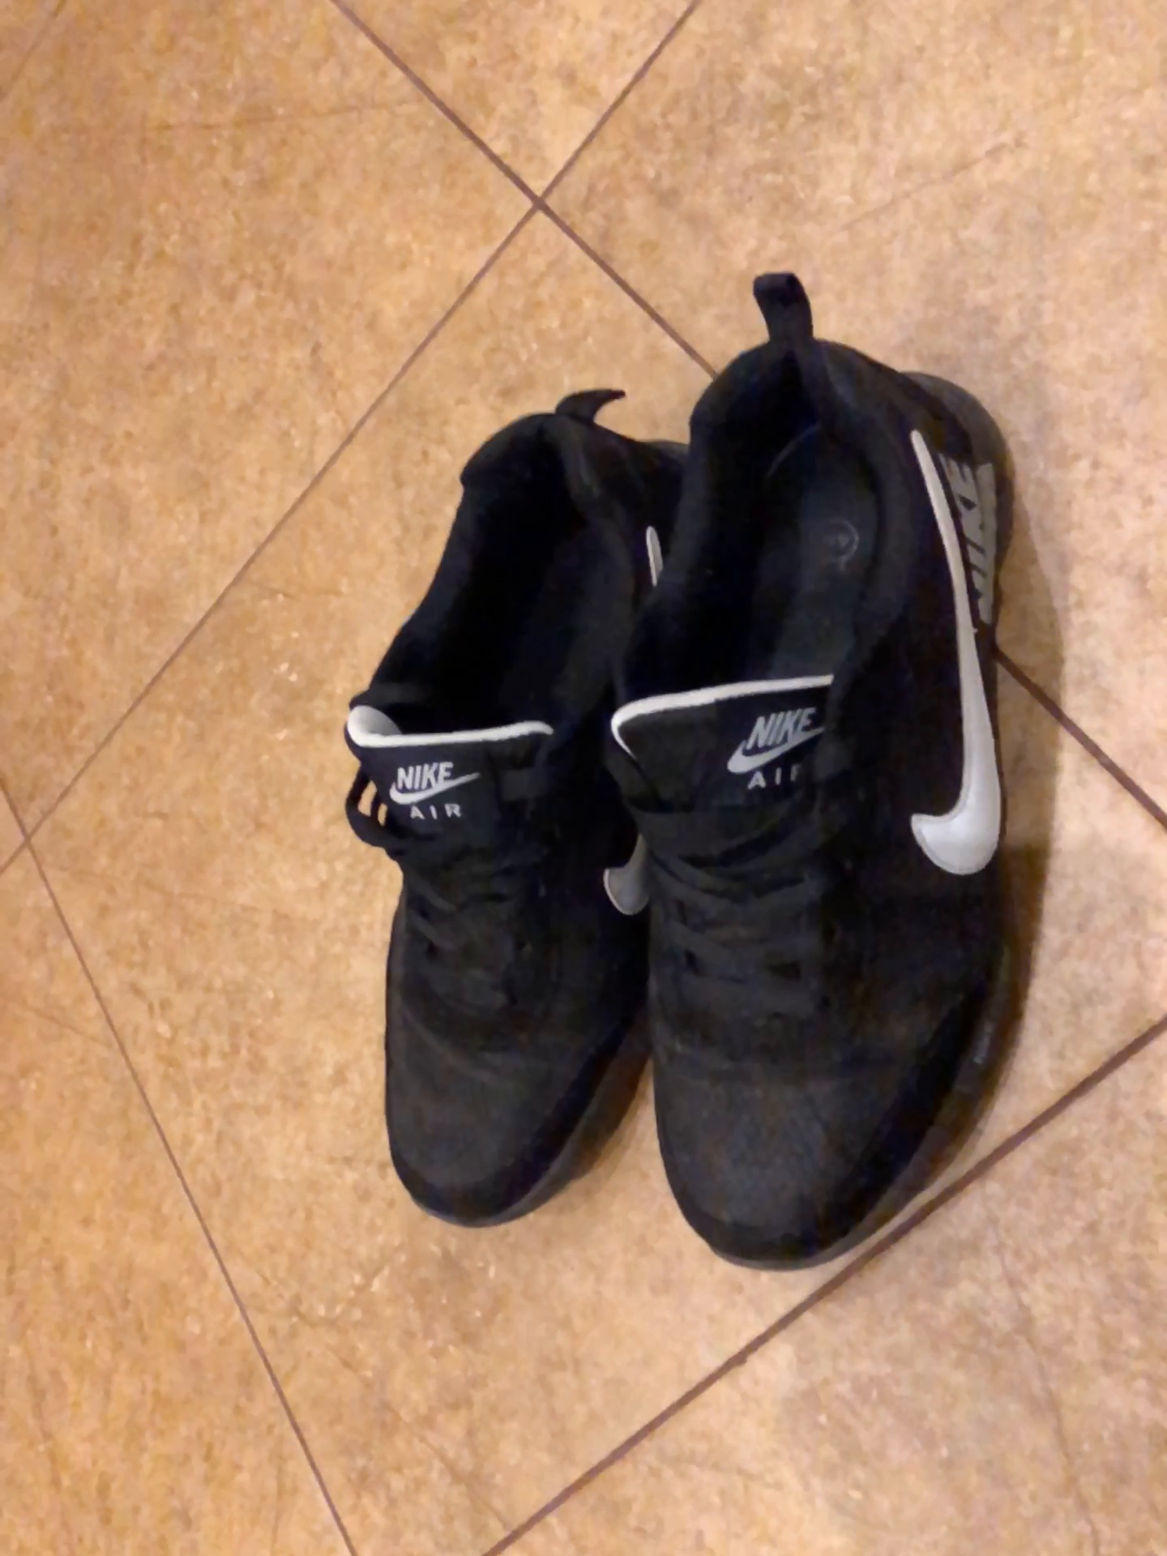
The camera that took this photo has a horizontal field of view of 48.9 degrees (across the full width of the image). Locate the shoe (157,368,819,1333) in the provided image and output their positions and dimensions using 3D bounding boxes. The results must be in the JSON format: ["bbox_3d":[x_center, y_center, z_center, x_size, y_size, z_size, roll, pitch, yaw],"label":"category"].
[{"bbox_3d":[-0.026,0.018,0.433,0.110,0.120,0.270,14,89,33],"label":"shoe"}]

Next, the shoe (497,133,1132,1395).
[{"bbox_3d":[0.077,-0.005,0.384,0.120,0.120,0.300,4,84,32],"label":"shoe"}]
